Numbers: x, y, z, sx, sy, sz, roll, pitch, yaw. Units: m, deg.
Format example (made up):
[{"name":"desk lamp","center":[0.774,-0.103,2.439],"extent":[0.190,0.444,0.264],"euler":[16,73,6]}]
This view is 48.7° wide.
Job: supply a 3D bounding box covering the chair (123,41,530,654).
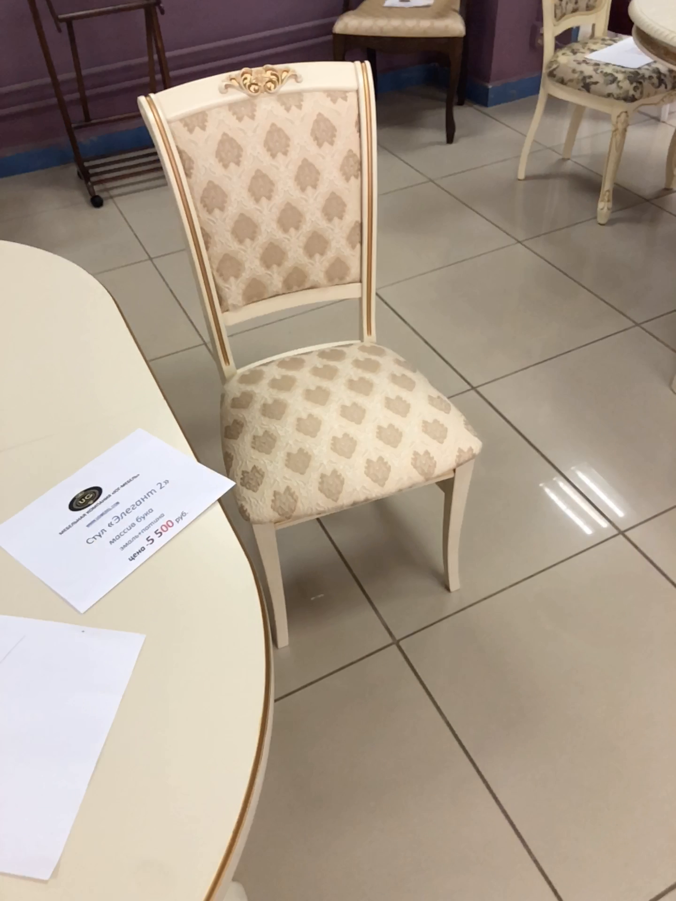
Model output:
[{"name":"chair","center":[-0.027,-0.145,1.385],"extent":[0.448,0.944,0.483],"euler":[-15,45,-12]}]
